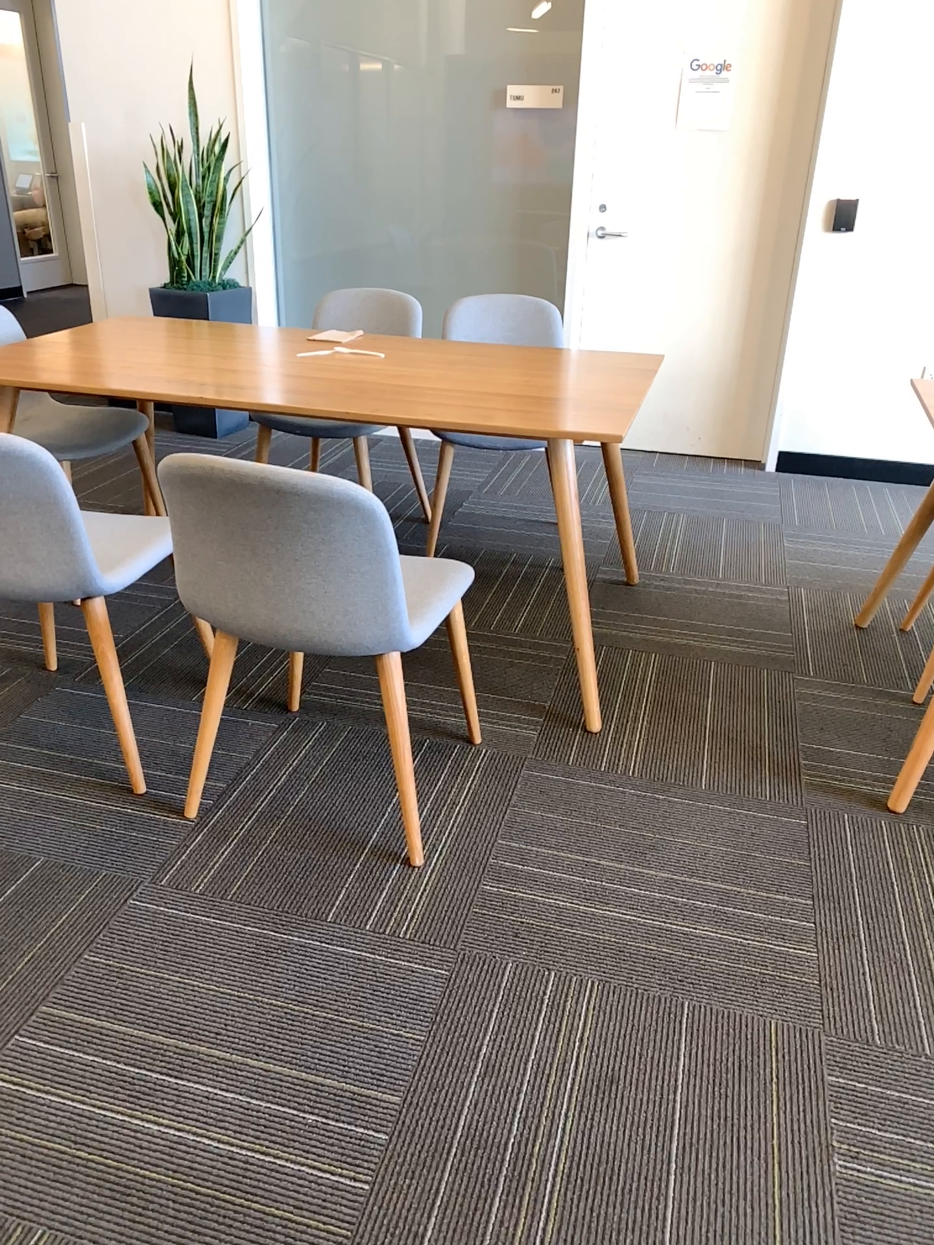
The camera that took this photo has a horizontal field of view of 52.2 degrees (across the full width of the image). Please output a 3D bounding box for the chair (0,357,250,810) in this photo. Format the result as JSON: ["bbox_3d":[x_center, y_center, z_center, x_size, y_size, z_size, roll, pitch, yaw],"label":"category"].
[{"bbox_3d":[-0.881,-0.115,2.077,0.570,0.776,0.533,8,26,12],"label":"chair"}]

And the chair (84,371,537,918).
[{"bbox_3d":[-0.246,-0.002,1.838,0.591,0.795,0.573,10,27,16],"label":"chair"}]
